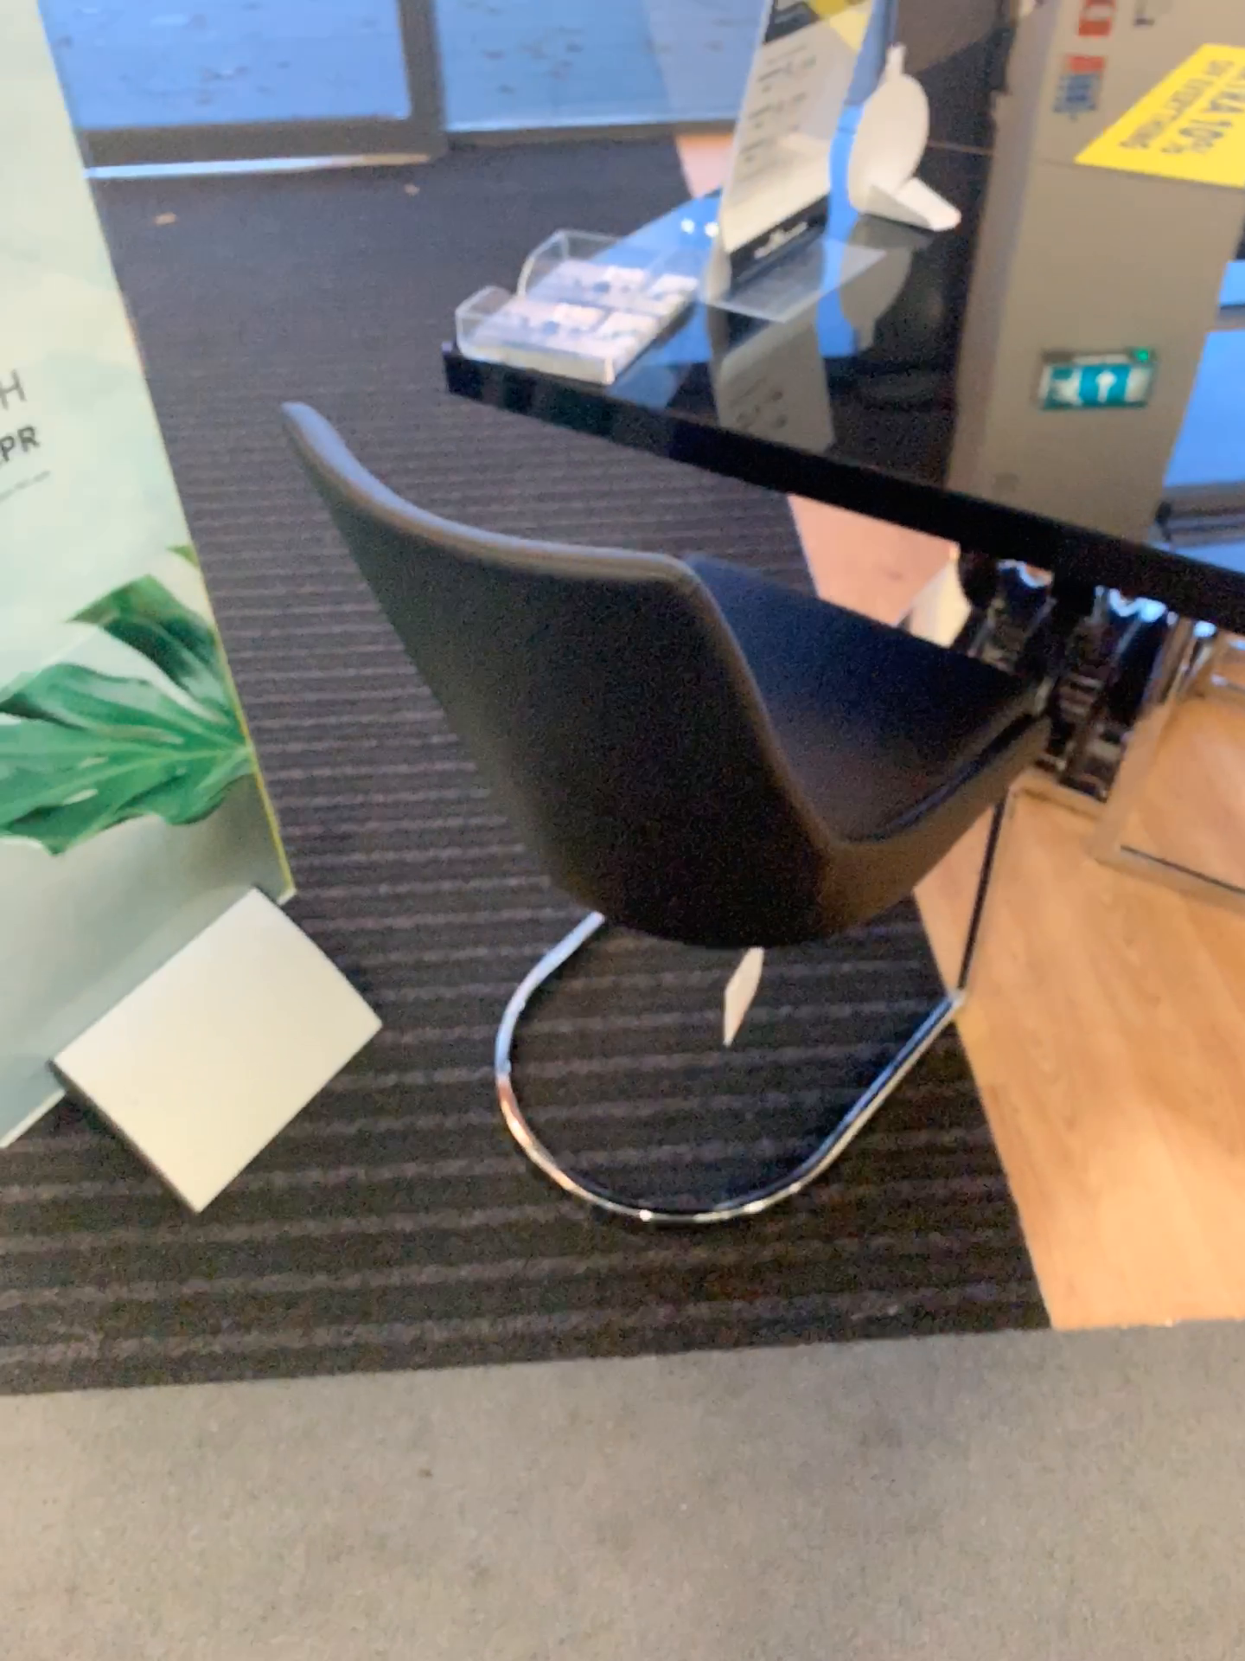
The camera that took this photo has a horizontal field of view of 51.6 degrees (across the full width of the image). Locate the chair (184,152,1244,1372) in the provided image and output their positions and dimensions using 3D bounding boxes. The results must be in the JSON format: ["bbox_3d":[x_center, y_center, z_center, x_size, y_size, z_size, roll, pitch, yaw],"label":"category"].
[{"bbox_3d":[0.103,-0.074,1.211,0.533,0.811,0.612,30,52,30],"label":"chair"}]
